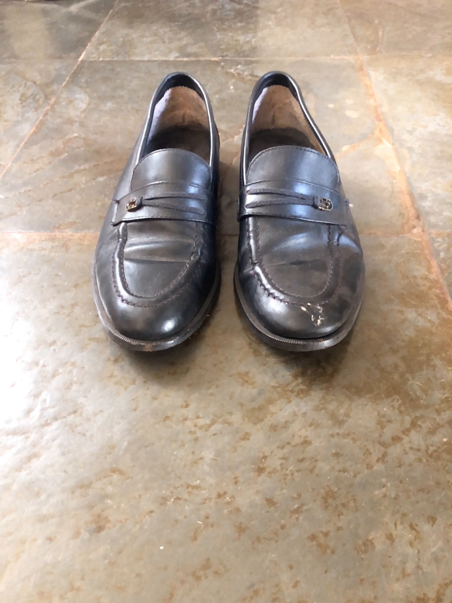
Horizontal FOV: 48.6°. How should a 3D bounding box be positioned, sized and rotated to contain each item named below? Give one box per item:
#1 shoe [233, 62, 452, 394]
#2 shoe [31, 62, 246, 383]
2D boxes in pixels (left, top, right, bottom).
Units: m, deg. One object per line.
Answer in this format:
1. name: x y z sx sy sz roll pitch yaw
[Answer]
1. shoe: 0.060 -0.072 0.365 0.100 0.099 0.262 -2 45 1
2. shoe: -0.039 -0.077 0.373 0.100 0.099 0.262 1 45 3
